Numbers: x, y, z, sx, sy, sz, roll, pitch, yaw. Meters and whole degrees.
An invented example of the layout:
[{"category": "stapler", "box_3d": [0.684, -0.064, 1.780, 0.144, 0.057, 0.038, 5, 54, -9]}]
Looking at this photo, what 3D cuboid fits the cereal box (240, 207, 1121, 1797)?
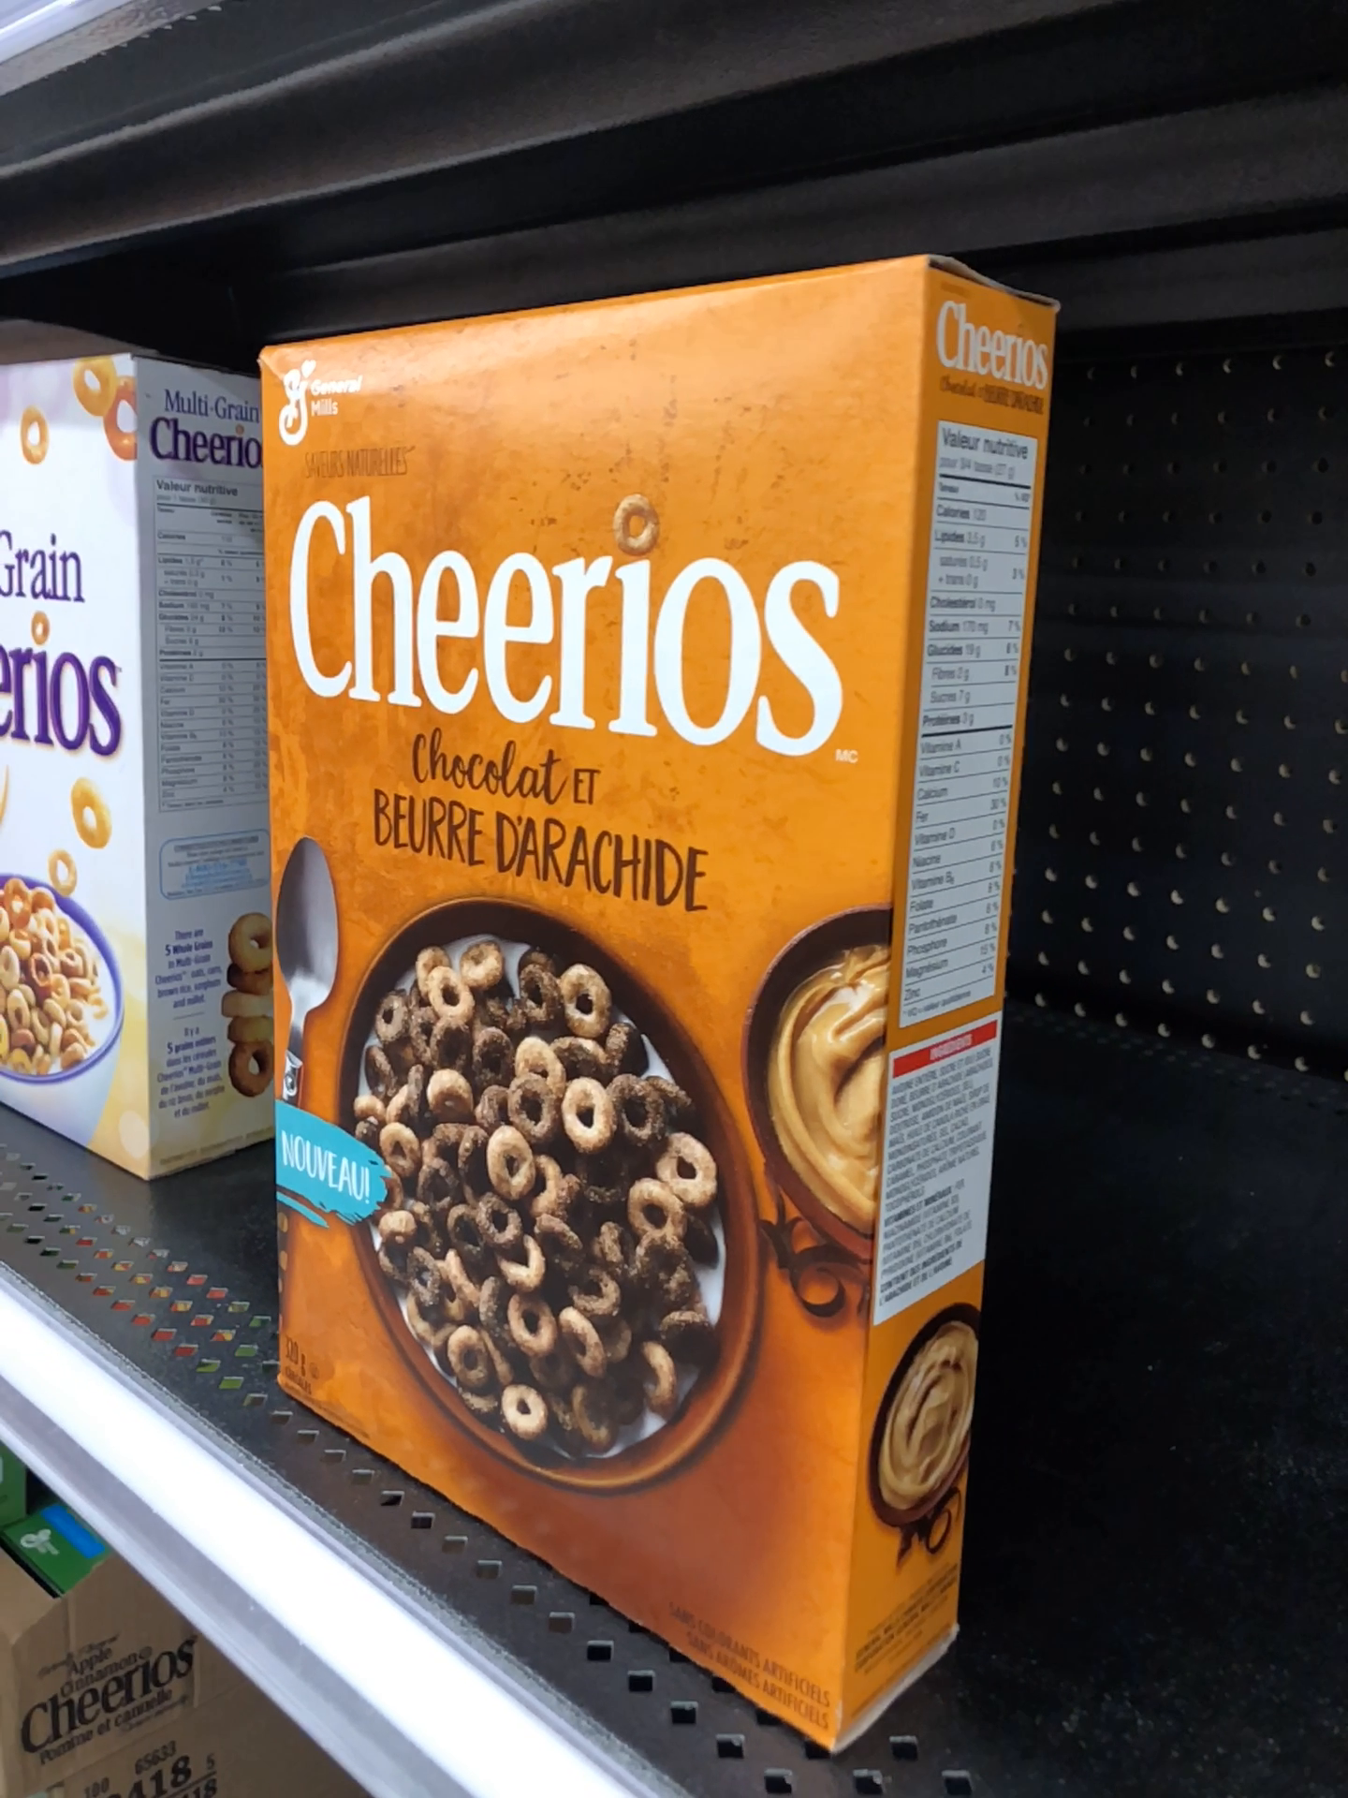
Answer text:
[{"category": "cereal box", "box_3d": [-0.016, 0.012, 0.348, 0.200, 0.289, 0.060, 12, 15, 41]}]
